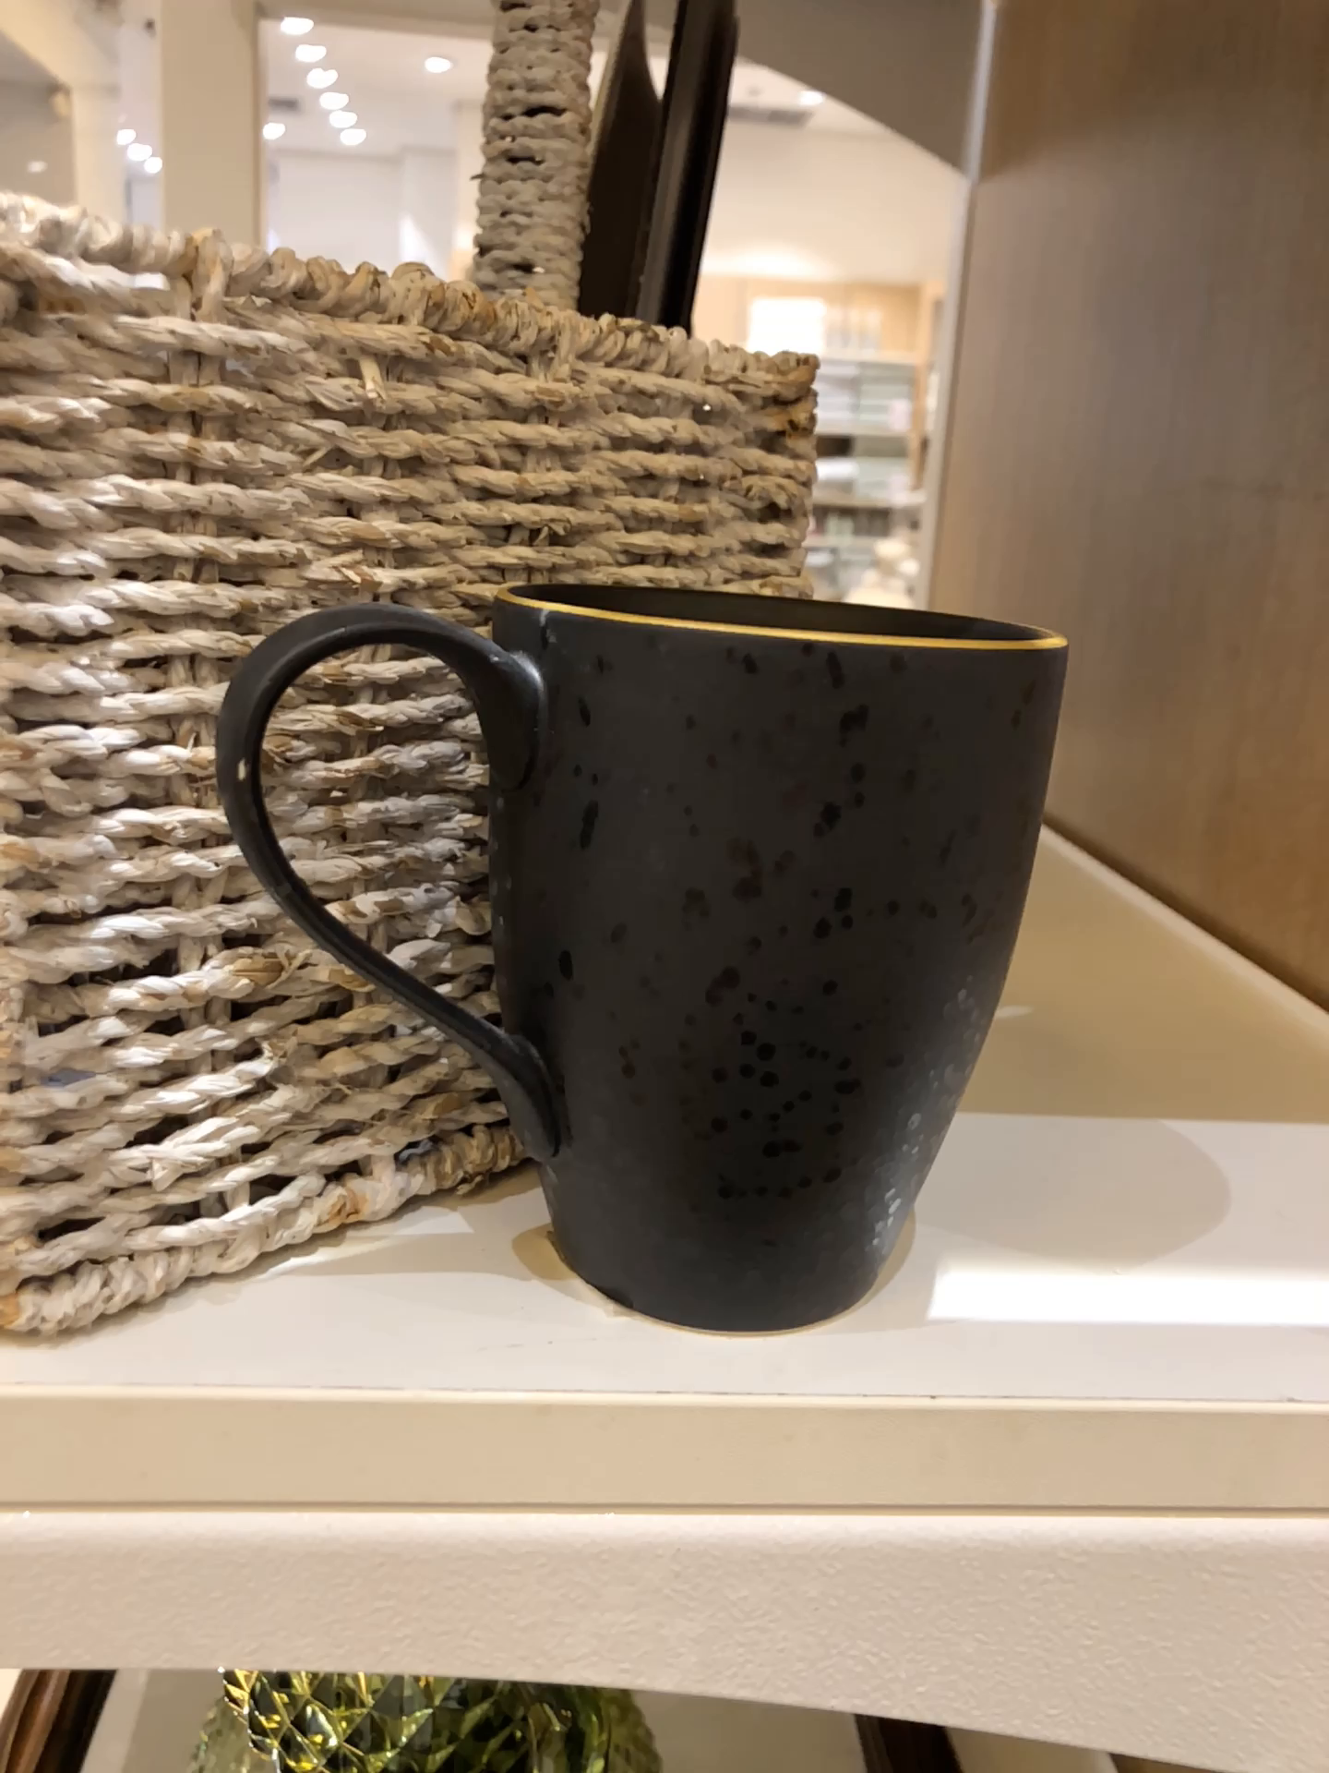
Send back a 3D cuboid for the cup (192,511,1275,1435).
[{"bbox_3d":[0.001,0.003,0.208,0.120,0.100,0.080,-1,15,-13],"label":"cup"}]
